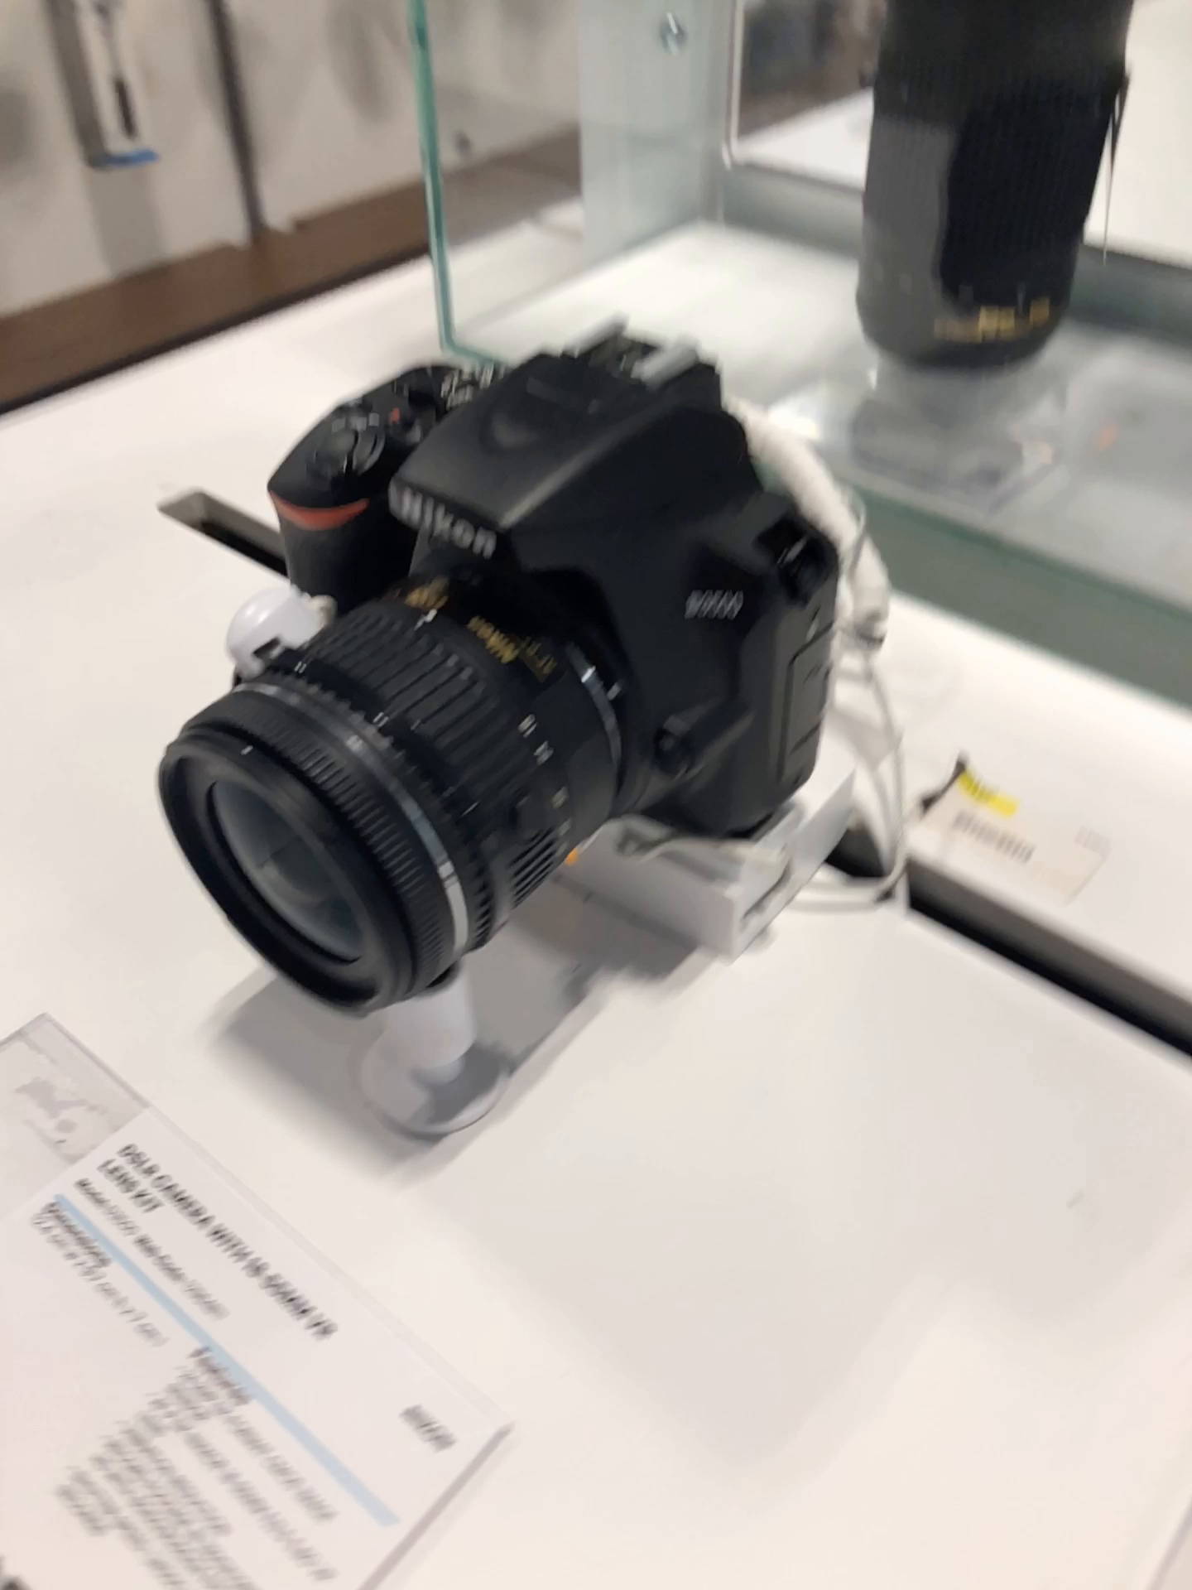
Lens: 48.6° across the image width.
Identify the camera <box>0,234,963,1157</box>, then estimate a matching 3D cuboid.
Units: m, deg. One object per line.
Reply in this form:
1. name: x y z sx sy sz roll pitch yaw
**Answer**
1. camera: -0.024 -0.034 0.260 0.131 0.089 0.131 26 48 28
